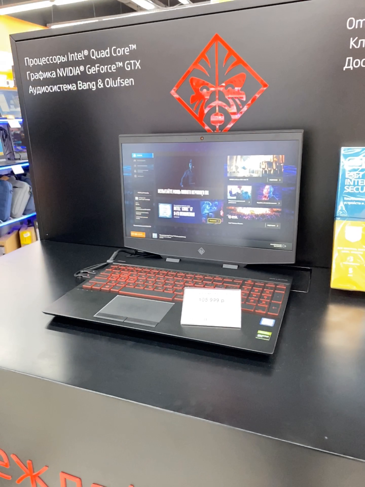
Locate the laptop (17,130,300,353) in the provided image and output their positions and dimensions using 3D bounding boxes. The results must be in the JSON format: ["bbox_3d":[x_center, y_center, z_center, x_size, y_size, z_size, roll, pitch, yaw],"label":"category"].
[{"bbox_3d":[-0.007,-0.047,0.621,0.358,0.247,0.302,5,19,20],"label":"laptop"}]
